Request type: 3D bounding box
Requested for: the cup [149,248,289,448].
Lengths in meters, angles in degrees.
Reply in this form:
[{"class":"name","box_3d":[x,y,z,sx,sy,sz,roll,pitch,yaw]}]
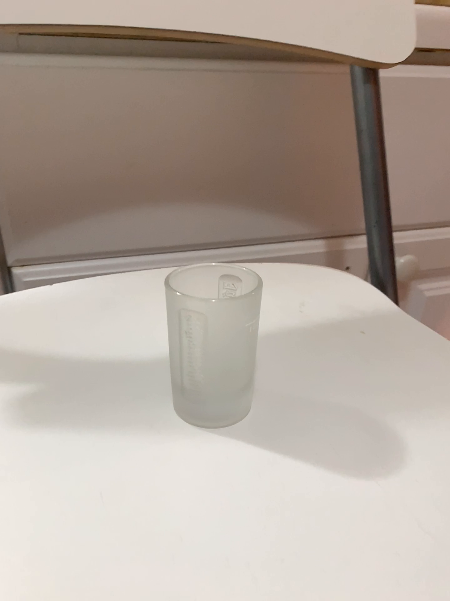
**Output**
[{"class":"cup","box_3d":[-0.005,0.020,0.220,0.049,0.075,0.042,-9,28,-19]}]
